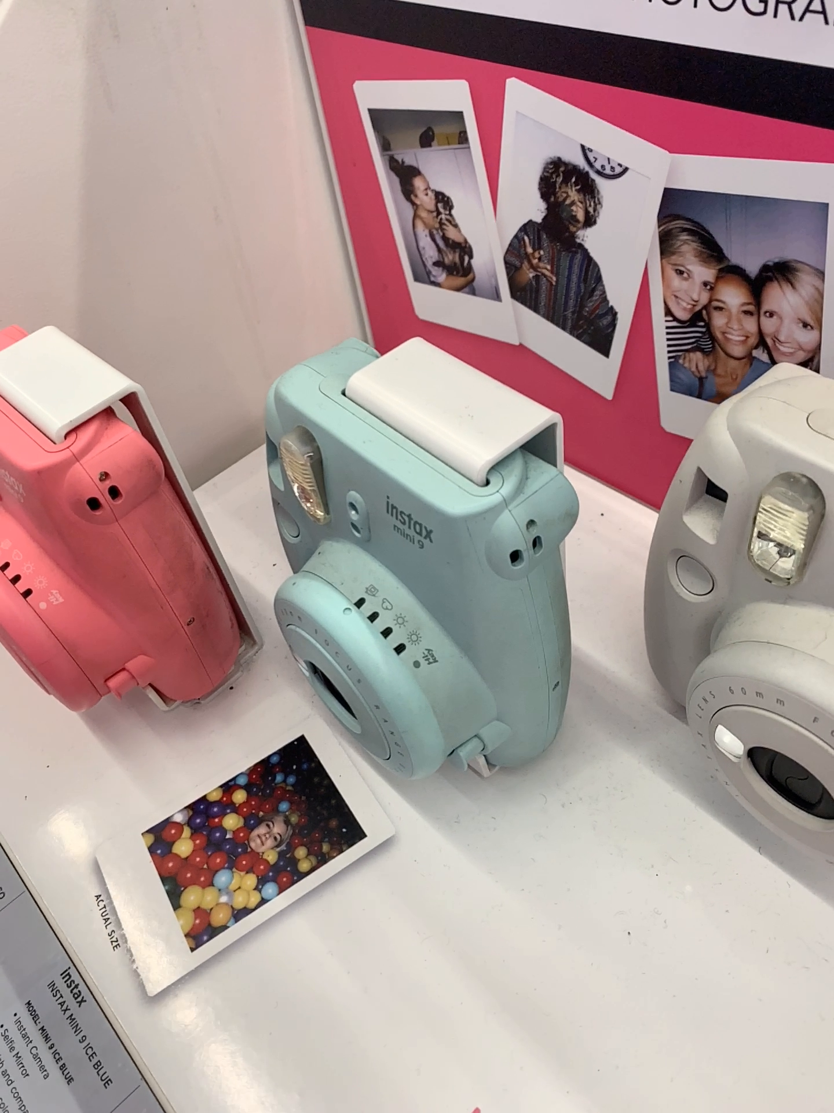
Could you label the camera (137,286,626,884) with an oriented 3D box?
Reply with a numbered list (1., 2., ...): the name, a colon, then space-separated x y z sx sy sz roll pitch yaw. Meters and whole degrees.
1. camera: -0.005 0.009 0.261 0.070 0.129 0.111 -35 51 -21
